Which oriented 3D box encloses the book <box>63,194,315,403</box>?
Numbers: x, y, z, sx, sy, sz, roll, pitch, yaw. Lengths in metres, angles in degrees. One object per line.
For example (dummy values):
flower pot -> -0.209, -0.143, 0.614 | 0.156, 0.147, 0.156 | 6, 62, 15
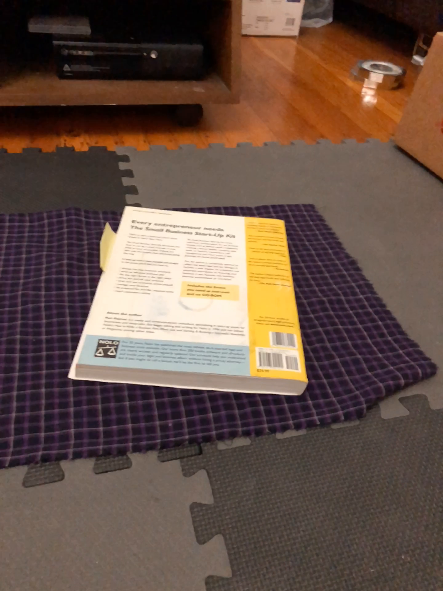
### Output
book -> -0.026, -0.018, 0.574 | 0.230, 0.030, 0.312 | 5, 40, -3
